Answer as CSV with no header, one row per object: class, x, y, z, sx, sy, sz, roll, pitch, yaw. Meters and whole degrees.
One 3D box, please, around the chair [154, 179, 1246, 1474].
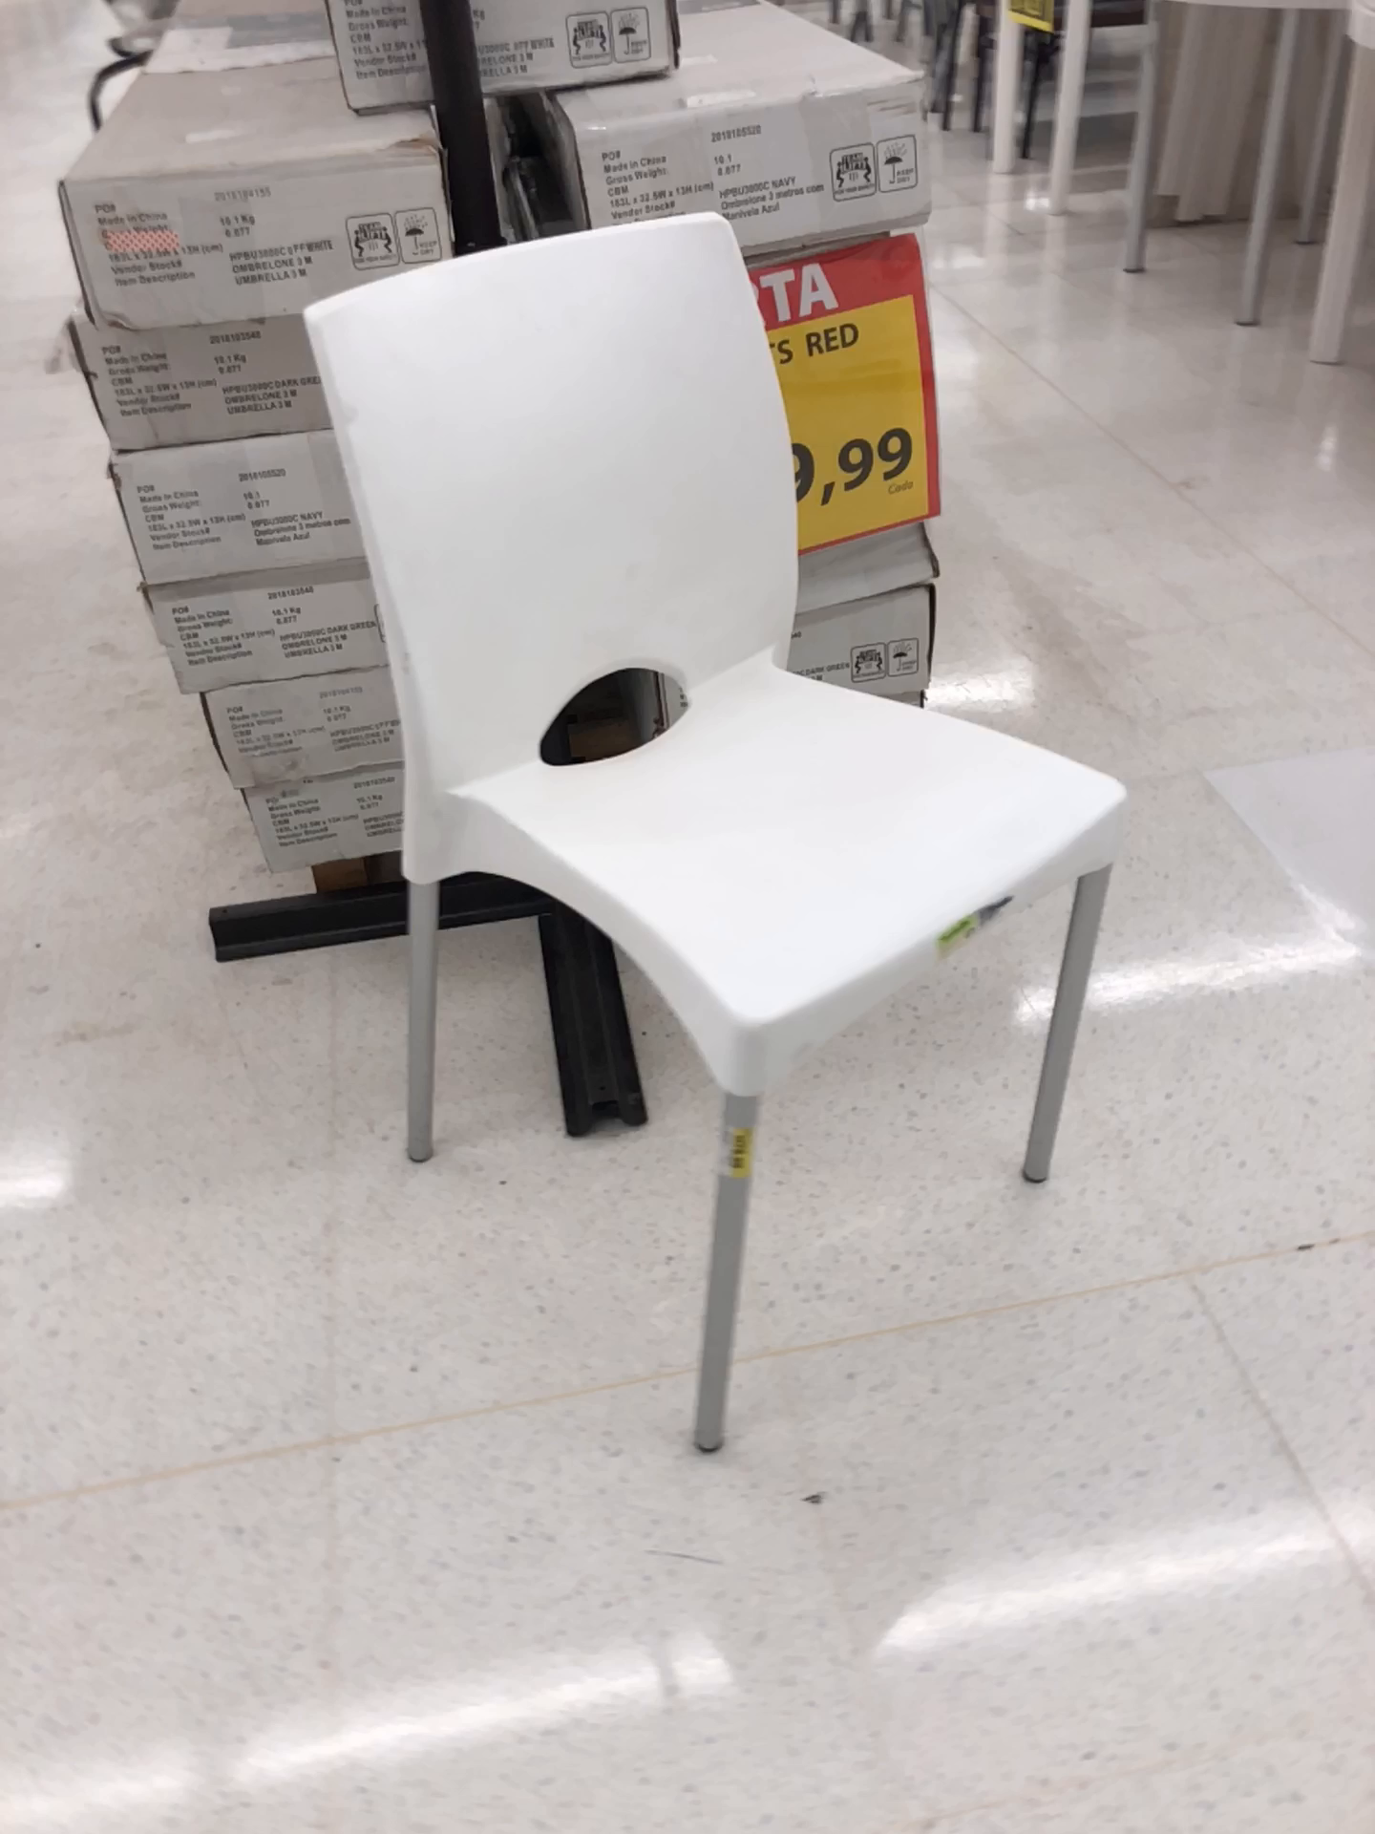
chair,0.010,-0.103,1.258,0.502,0.794,0.562,-29,43,-29
